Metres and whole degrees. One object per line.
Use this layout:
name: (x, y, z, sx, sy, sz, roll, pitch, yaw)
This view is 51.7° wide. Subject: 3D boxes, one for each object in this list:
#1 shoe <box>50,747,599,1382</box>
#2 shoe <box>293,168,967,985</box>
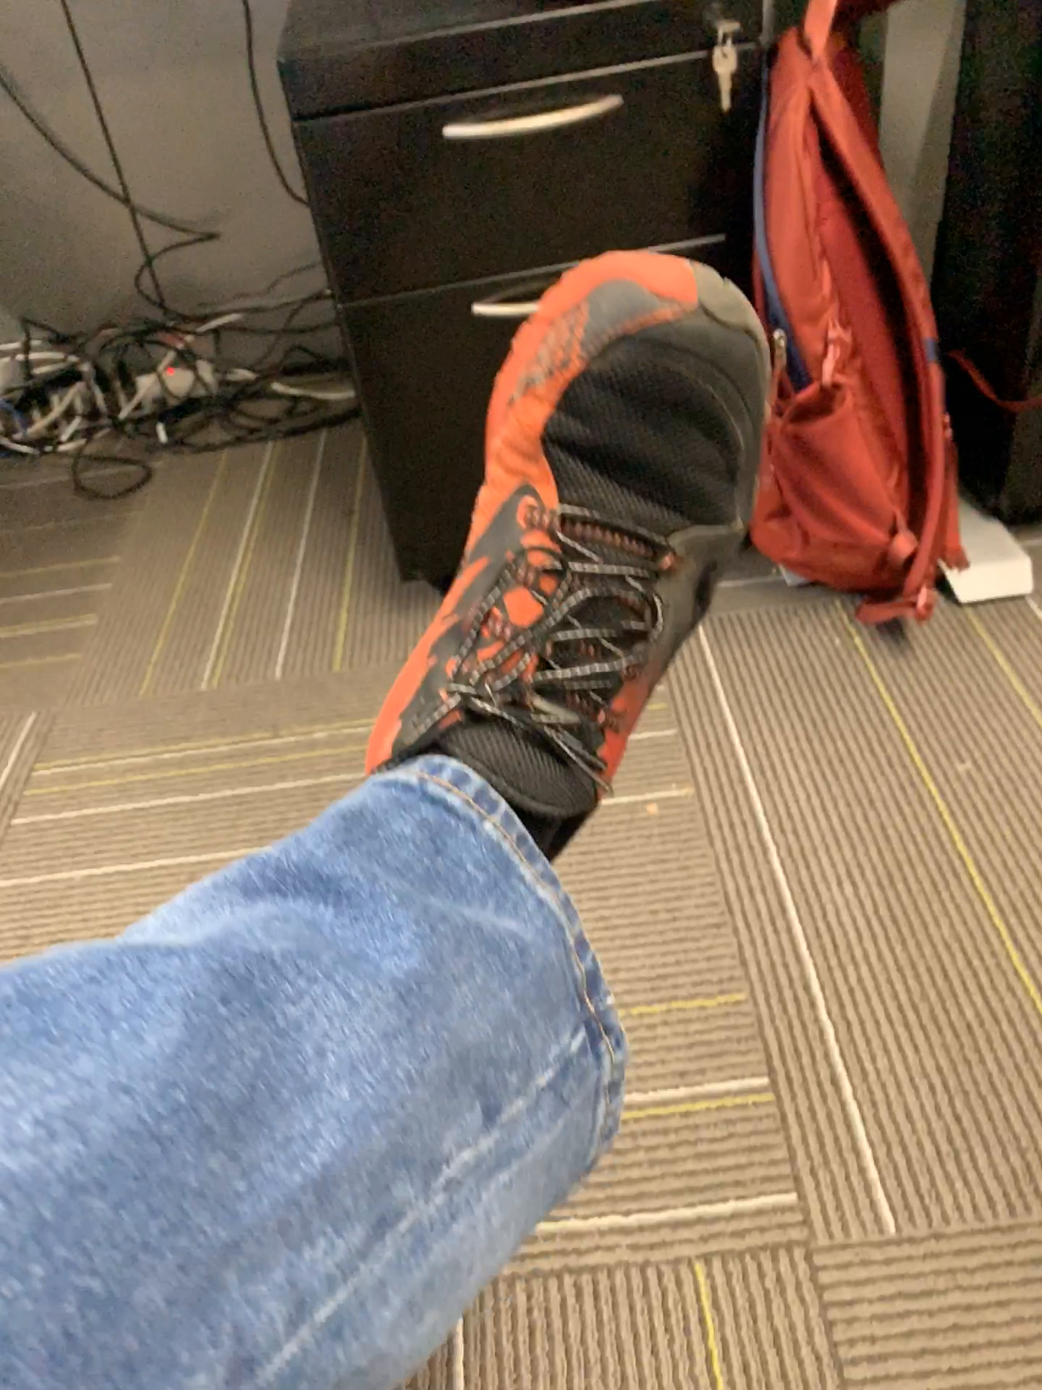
shoe: (-0.110, 0.198, 0.602, 0.129, 0.135, 0.289, 35, 96, 40)
shoe: (0.012, -0.029, 0.459, 0.118, 0.303, 0.143, 16, 38, -24)
